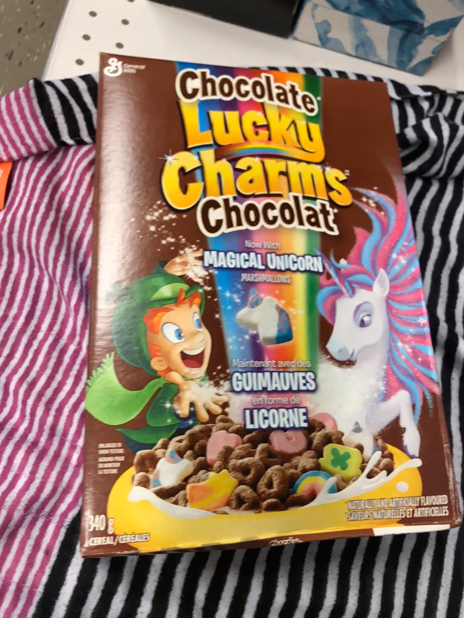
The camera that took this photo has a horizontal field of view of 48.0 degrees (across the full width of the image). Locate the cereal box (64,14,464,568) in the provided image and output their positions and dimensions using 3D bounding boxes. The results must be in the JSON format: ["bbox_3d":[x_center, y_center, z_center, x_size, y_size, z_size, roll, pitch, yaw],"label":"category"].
[{"bbox_3d":[0.020,-0.020,0.309,0.210,0.060,0.290,1,74,-12],"label":"cereal box"}]
